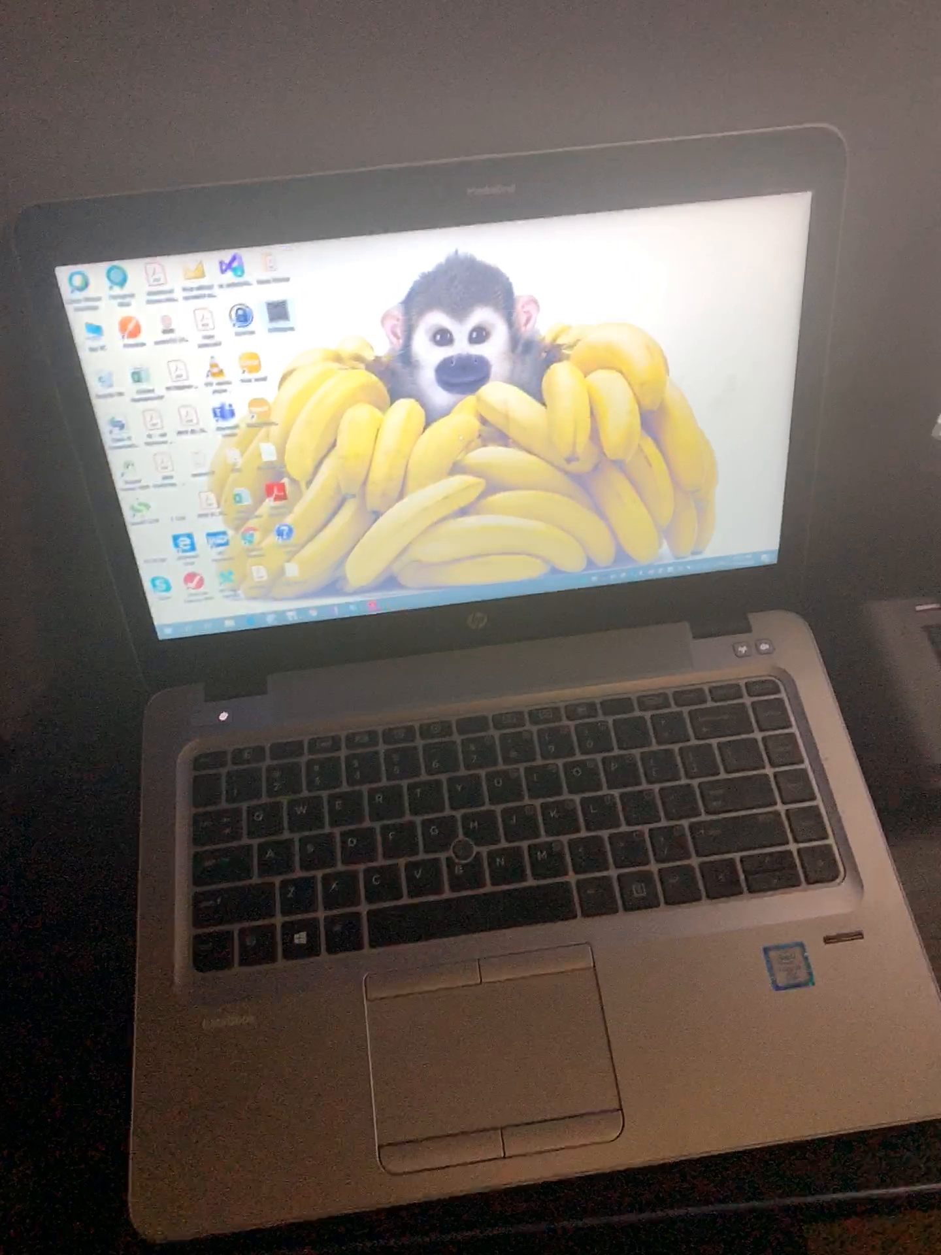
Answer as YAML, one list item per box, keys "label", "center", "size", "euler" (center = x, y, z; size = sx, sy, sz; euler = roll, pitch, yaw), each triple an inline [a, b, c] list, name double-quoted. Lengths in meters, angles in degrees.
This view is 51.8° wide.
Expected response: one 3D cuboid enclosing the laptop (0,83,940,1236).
- label: "laptop"
  center: [0.011, 0.005, 0.366]
  size: [0.318, 0.191, 0.327]
  euler: [-8, 59, -3]
